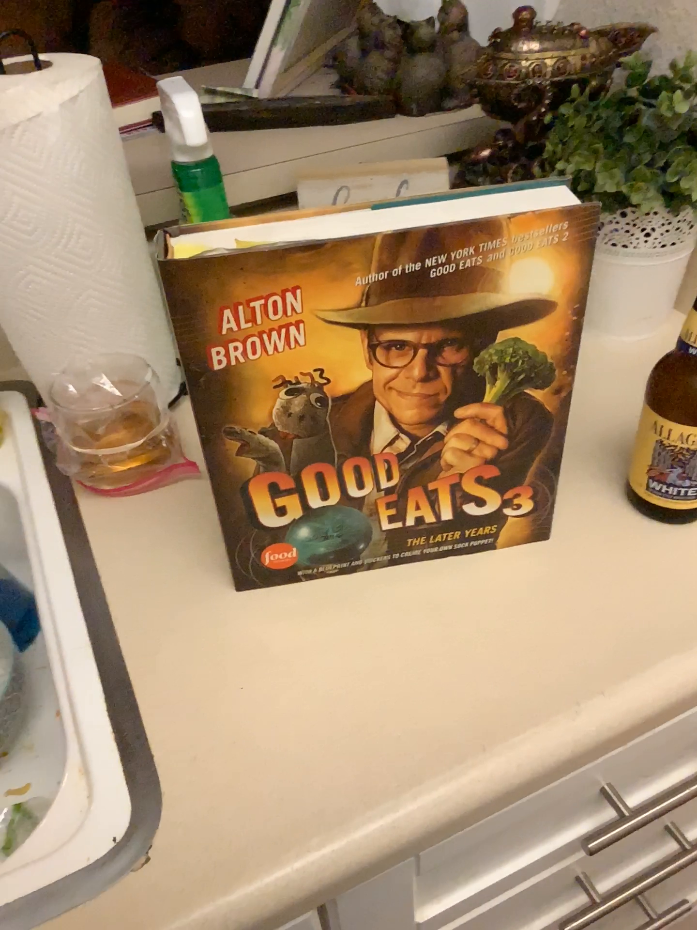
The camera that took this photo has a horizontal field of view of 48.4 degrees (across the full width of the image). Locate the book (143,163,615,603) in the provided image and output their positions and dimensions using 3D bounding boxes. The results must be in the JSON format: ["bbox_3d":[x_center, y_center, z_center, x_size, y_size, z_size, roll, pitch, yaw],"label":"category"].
[{"bbox_3d":[0.023,-0.038,0.484,0.240,0.250,0.050,-10,39,-5],"label":"book"}]
